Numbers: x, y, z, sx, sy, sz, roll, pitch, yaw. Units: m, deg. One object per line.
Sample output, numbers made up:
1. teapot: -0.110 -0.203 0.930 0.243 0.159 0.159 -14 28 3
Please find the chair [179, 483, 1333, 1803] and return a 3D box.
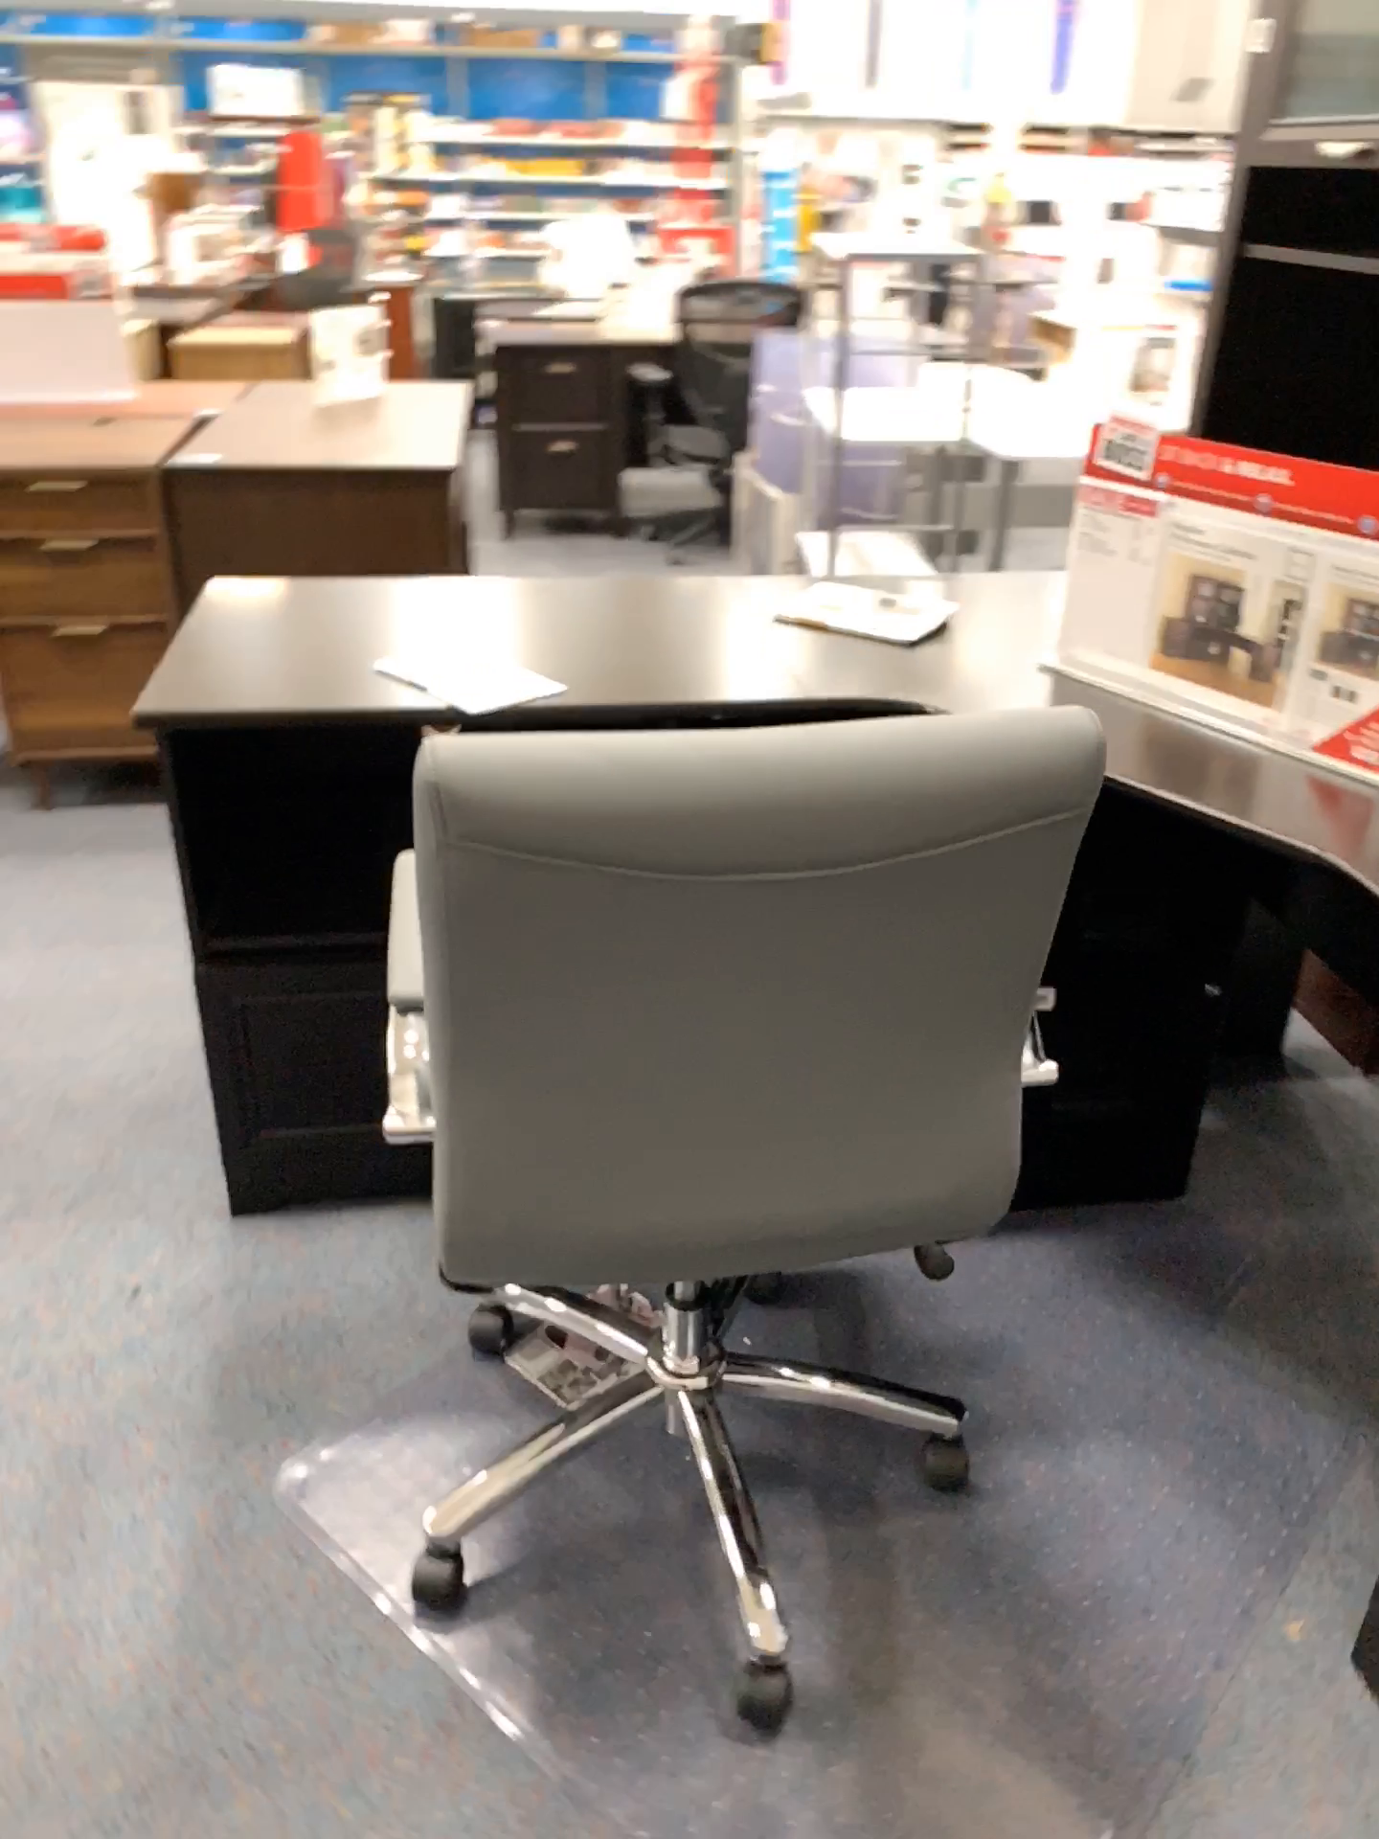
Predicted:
1. chair: 0.005 0.156 1.332 0.657 0.962 0.711 -1 28 -5
